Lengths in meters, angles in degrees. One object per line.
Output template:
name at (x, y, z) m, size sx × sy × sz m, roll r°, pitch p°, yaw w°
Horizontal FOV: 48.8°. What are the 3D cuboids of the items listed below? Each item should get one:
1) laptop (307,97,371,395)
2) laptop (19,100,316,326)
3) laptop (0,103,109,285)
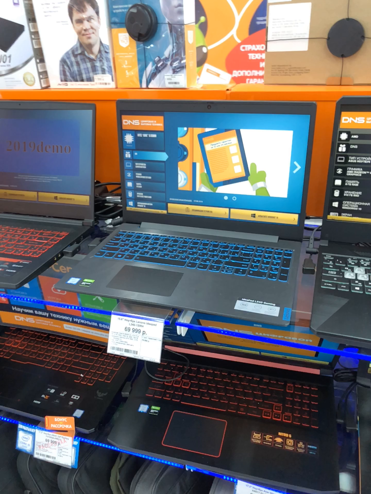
laptop at (0.371, -0.044, 0.518) m, size 0.368 × 0.244 × 0.274 m, roll 7°, pitch 28°, yaw 18°
laptop at (0.003, -0.086, 0.641) m, size 0.356 × 0.235 × 0.279 m, roll 7°, pitch 28°, yaw 17°
laptop at (-0.392, -0.131, 0.774) m, size 0.356 × 0.224 × 0.320 m, roll 6°, pitch 28°, yaw 16°
